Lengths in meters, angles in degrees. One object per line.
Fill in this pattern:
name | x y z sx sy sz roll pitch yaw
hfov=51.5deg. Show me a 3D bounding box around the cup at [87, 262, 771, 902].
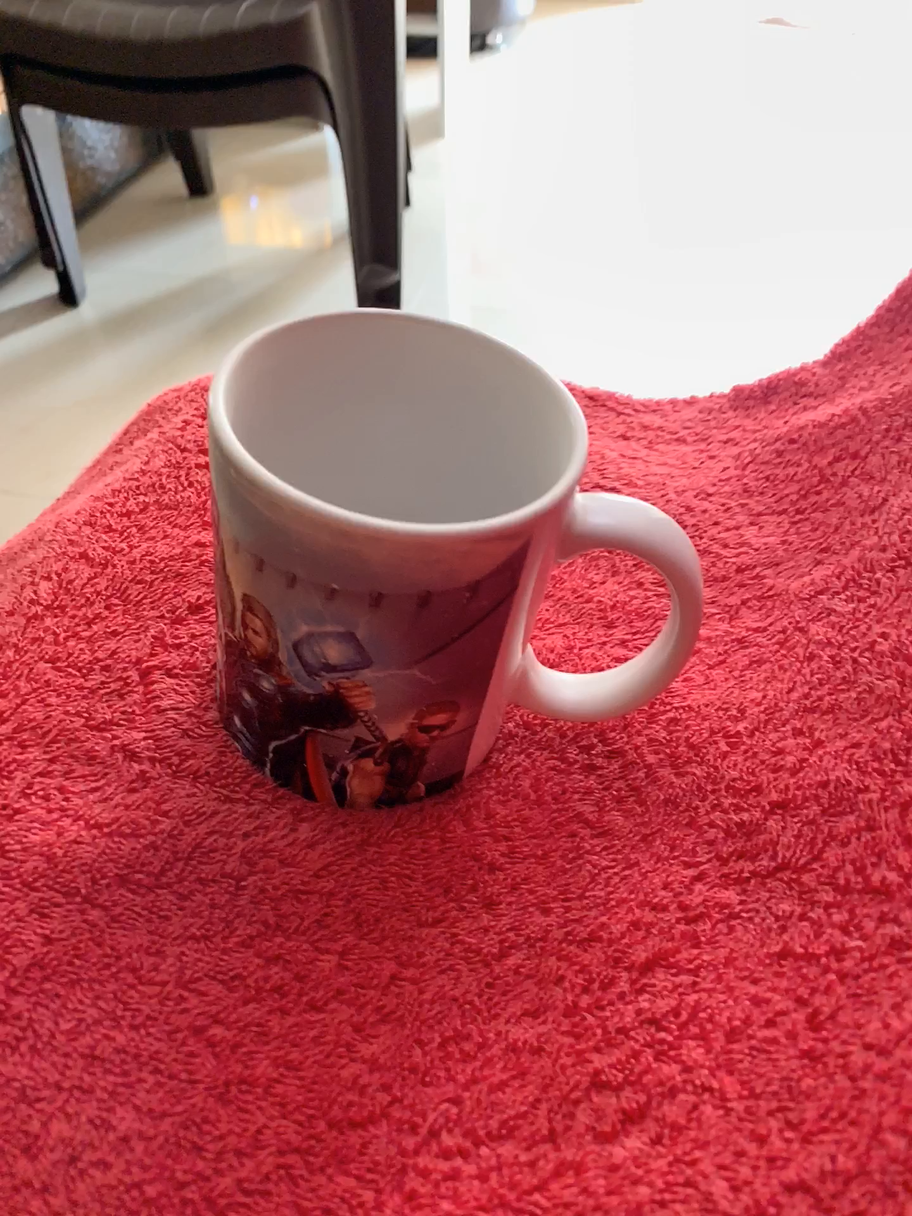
cup | -0.001 -0.006 0.225 0.120 0.089 0.091 14 49 5
